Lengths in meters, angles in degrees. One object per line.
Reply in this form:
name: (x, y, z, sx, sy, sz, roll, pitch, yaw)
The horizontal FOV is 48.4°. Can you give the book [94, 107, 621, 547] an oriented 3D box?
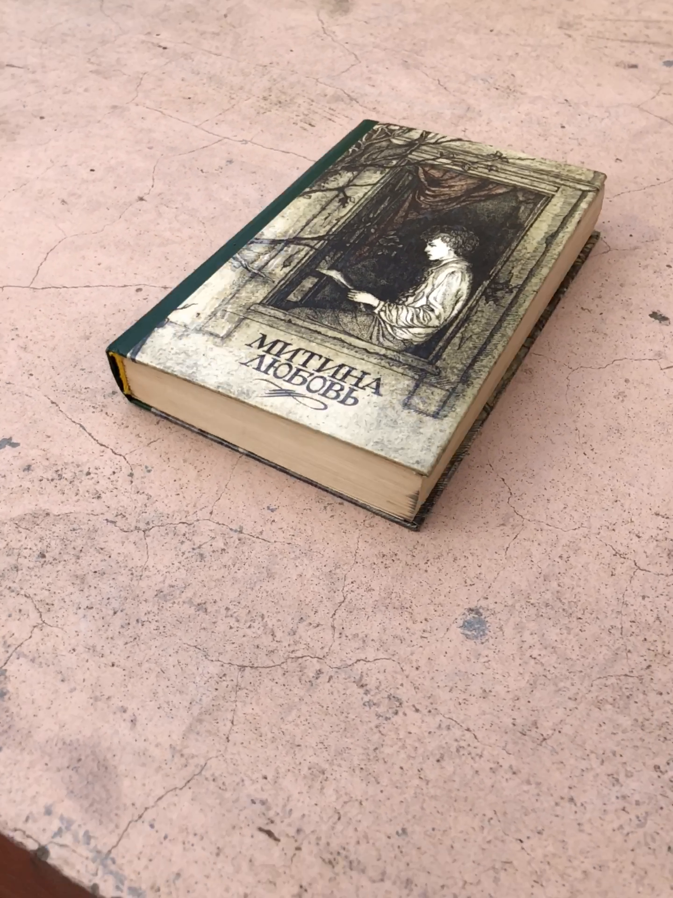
book: (0.023, -0.073, 0.323, 0.135, 0.035, 0.214, 22, 53, 19)
